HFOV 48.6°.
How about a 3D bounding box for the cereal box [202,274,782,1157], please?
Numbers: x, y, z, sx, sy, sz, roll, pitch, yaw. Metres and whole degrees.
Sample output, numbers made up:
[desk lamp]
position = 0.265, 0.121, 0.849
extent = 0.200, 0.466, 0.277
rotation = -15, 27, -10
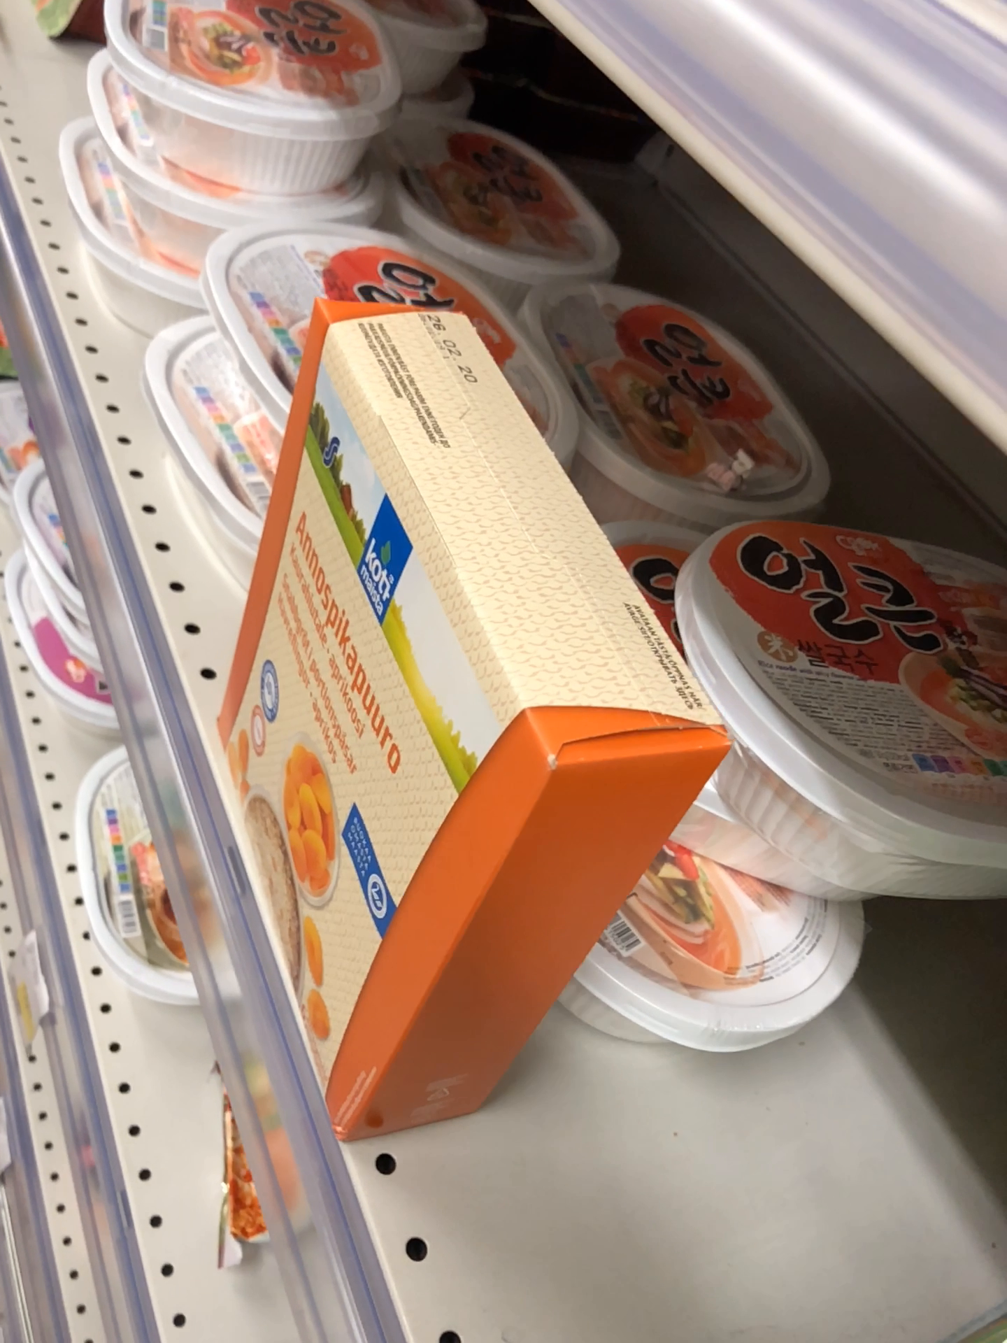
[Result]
[cereal box]
position = -0.028, 0.014, 0.326
extent = 0.060, 0.179, 0.171
rotation = -2, 48, -29
